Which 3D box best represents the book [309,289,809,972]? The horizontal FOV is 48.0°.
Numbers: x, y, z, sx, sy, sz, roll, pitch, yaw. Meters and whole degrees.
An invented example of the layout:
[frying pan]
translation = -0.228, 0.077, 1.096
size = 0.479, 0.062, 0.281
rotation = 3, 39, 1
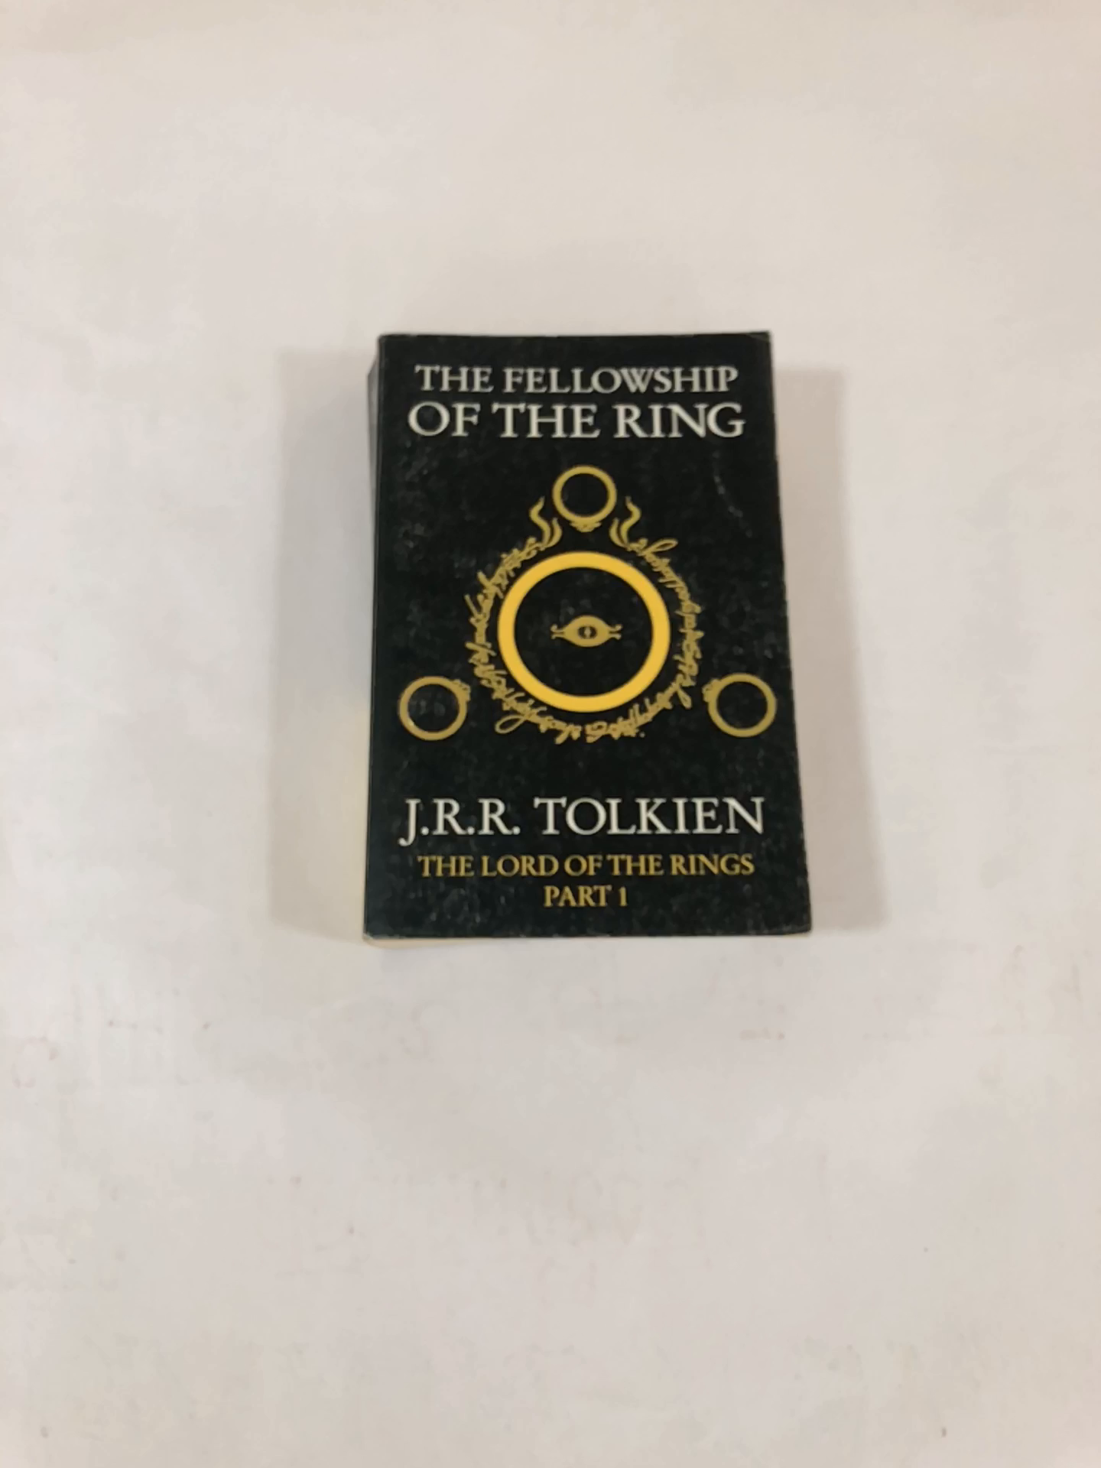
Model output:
[book]
translation = 0.003, -0.032, 0.375
size = 0.130, 0.050, 0.200
rotation = -1, 73, 3
